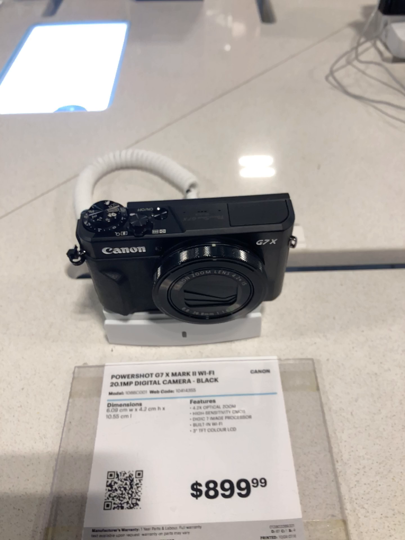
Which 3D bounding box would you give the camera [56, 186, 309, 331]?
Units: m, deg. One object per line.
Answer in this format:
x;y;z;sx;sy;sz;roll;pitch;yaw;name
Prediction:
-0.009;-0.005;0.233;0.110;0.060;0.040;-3;48;-1;camera
